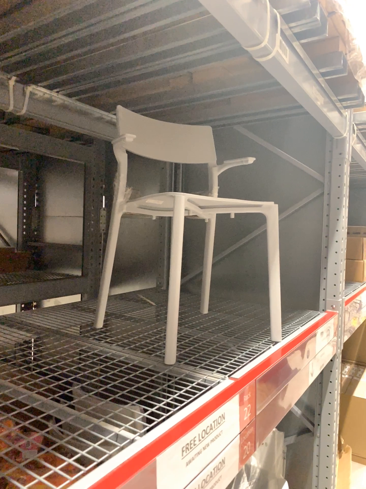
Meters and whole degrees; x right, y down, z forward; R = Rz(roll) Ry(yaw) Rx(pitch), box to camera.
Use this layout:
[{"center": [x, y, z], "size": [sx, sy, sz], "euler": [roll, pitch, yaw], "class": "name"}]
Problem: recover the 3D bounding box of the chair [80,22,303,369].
[{"center": [0.004, -0.123, 1.250], "size": [0.480, 0.820, 0.550], "euler": [1, 2, -37], "class": "chair"}]
